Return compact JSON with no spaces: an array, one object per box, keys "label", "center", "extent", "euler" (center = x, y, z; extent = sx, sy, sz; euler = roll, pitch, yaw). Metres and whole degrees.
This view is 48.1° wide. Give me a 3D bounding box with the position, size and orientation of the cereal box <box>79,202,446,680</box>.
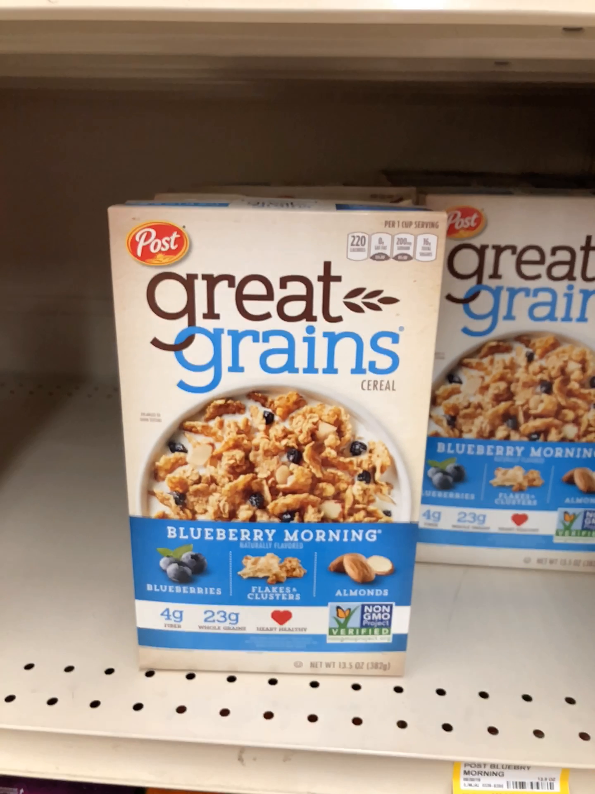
[{"label":"cereal box","center":[-0.019,0.031,0.399],"extent":[0.180,0.279,0.060],"euler":[1,18,1]}]
